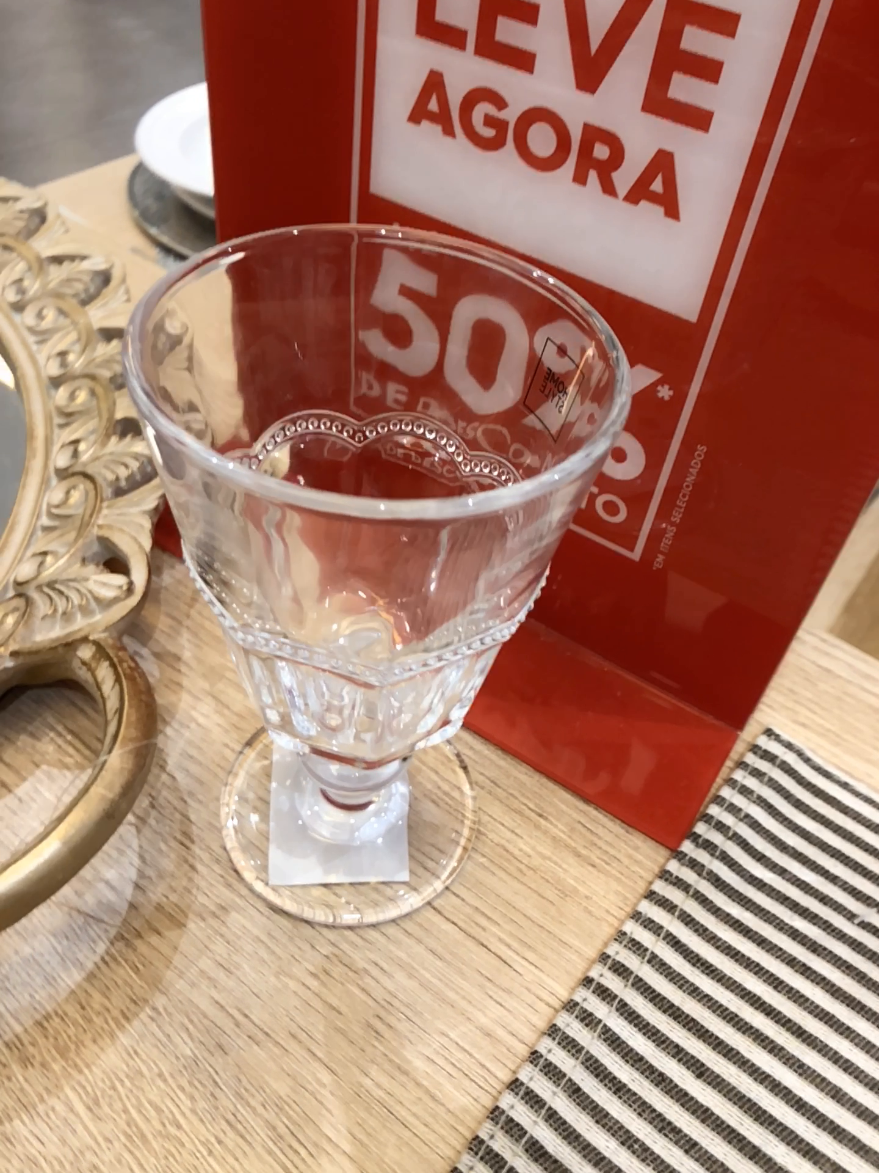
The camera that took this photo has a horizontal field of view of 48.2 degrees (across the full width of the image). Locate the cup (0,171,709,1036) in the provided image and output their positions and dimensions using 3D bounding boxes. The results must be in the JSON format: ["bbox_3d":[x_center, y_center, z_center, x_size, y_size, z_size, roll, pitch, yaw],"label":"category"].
[{"bbox_3d":[-0.019,0.008,0.203,0.080,0.139,0.080,4,45,-4],"label":"cup"}]
